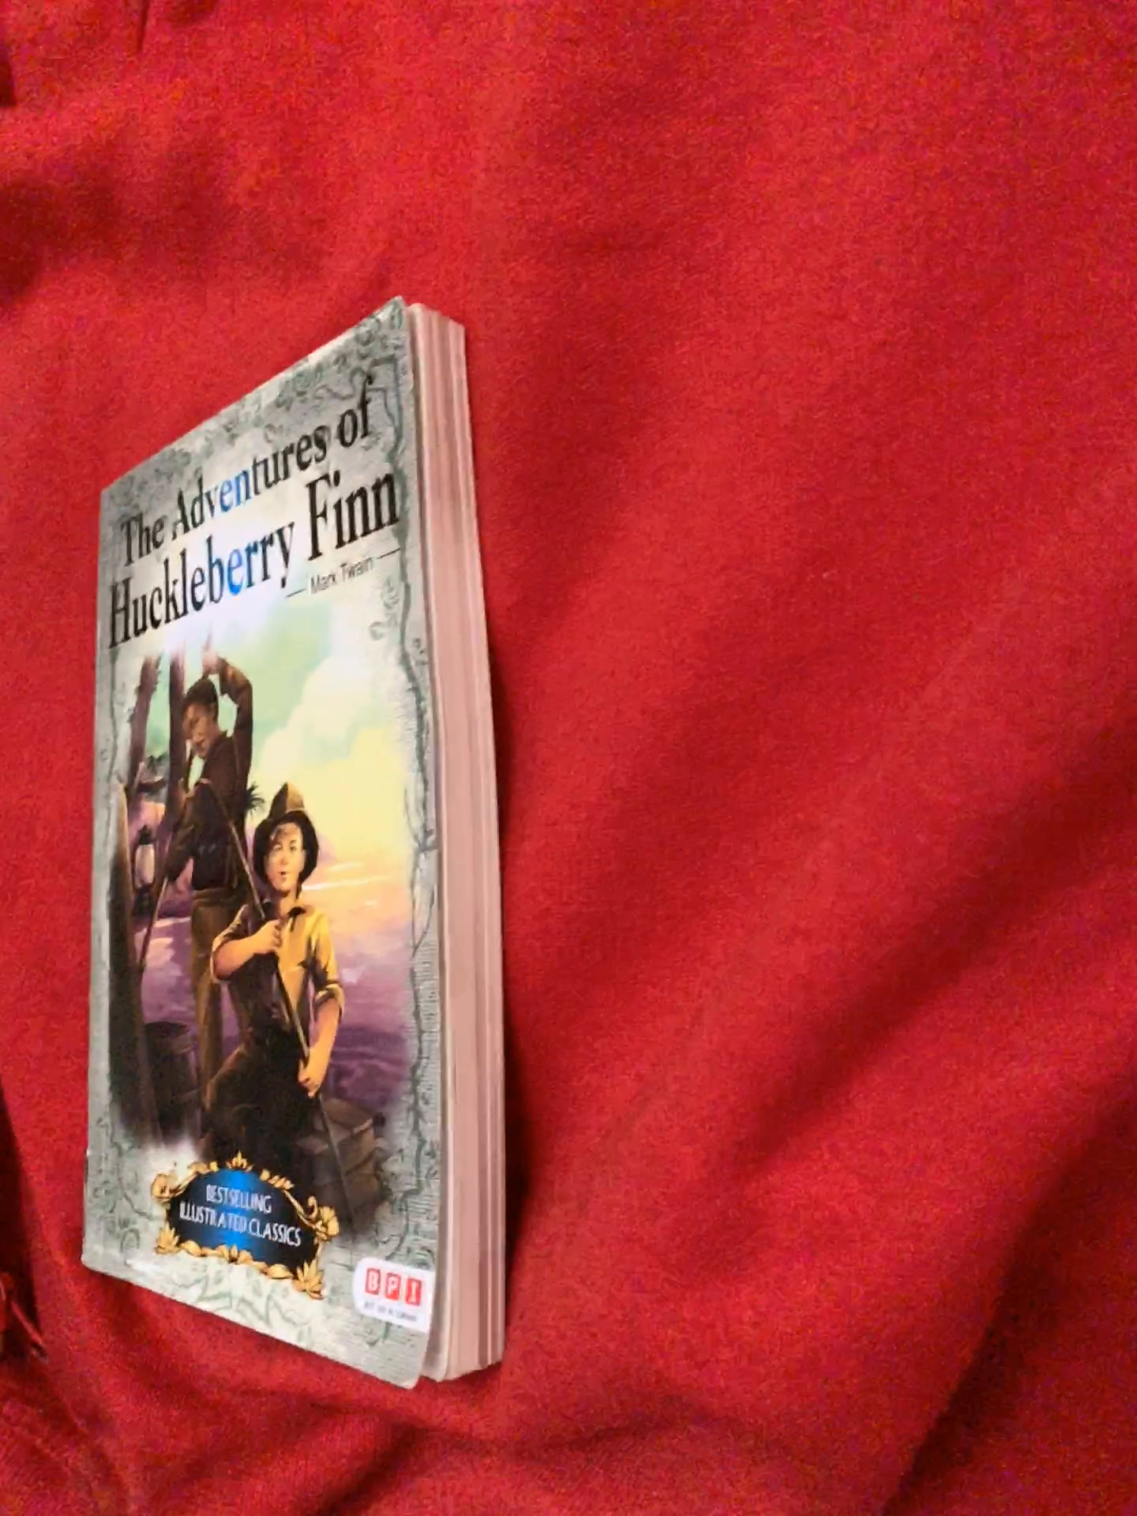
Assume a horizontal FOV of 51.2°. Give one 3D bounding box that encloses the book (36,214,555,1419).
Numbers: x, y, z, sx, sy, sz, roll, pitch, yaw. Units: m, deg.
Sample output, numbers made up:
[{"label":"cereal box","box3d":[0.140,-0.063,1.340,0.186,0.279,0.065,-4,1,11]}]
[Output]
[{"label":"book","box3d":[-0.059,0.011,0.227,0.131,0.020,0.180,-11,77,42]}]
